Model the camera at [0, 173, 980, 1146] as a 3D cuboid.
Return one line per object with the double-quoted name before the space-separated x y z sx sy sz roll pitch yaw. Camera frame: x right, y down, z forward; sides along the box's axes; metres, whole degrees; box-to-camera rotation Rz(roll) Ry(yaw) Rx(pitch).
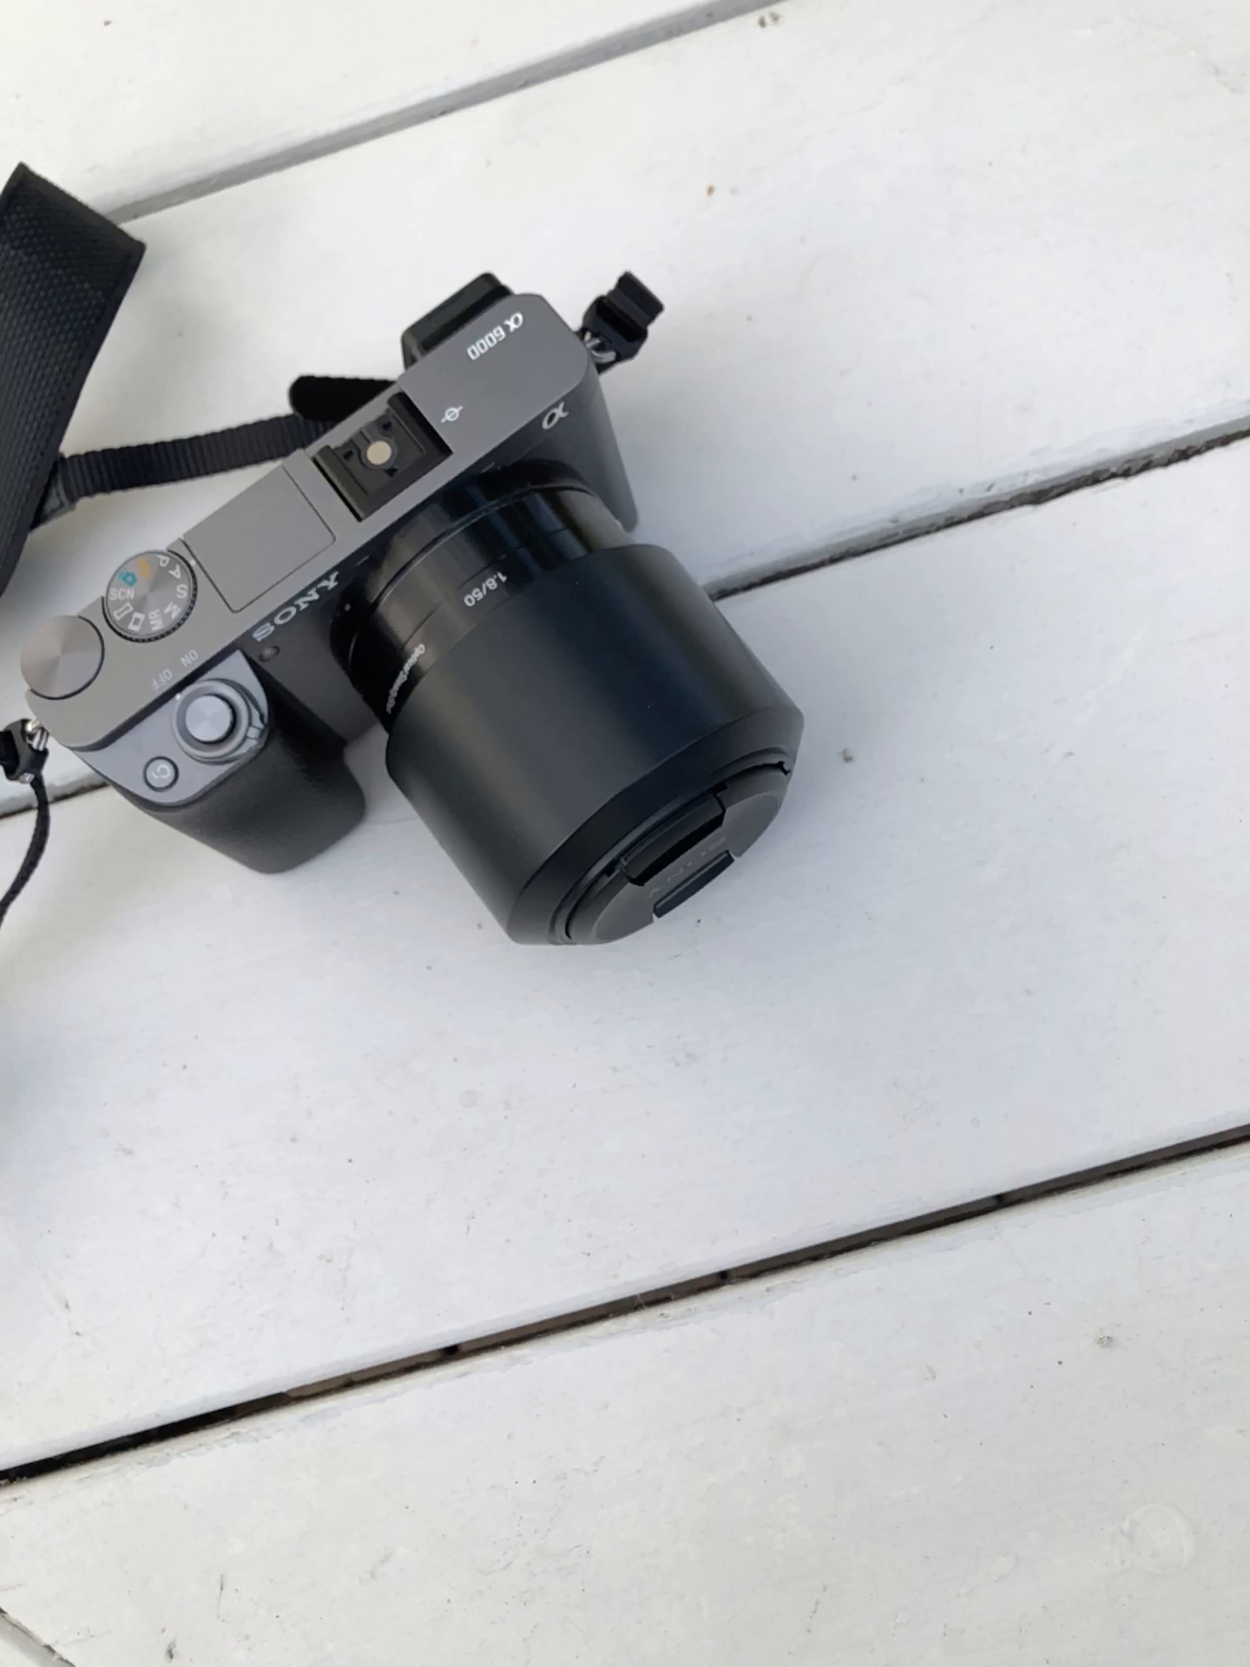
"camera" -0.027 -0.029 0.270 0.140 0.070 0.110 -38 75 -4
